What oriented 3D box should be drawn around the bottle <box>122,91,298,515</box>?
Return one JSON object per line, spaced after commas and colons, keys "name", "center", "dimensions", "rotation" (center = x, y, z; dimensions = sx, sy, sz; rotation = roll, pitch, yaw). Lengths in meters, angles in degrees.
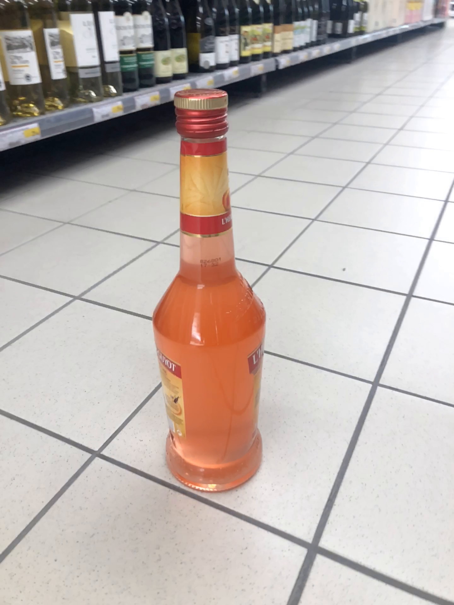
{"name": "bottle", "center": [-0.014, 0.012, 0.368], "dimensions": [0.090, 0.298, 0.090], "rotation": [-1, 30, 0]}
